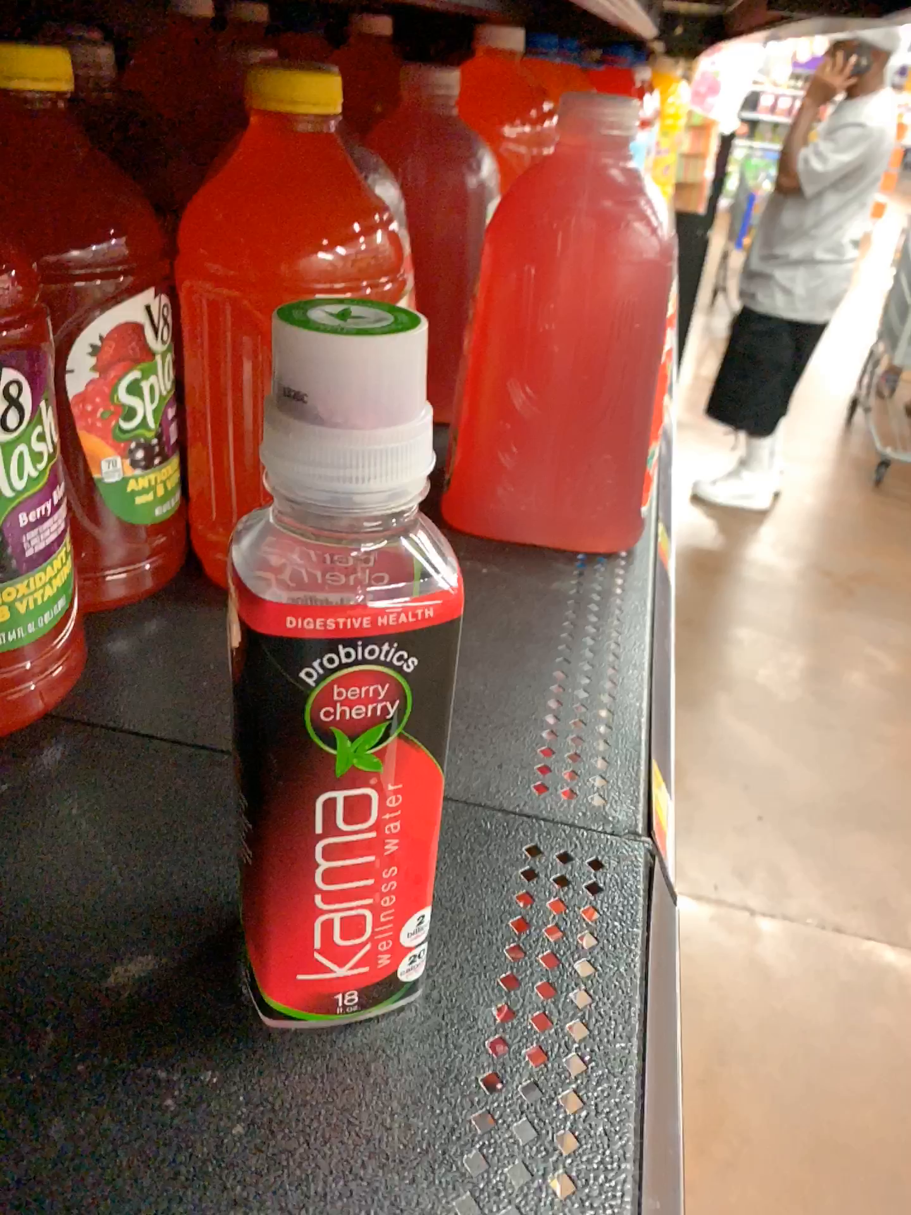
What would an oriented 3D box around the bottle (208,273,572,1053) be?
[{"bbox_3d":[-0.029,0.023,0.266,0.068,0.209,0.070,5,31,-3],"label":"bottle"}]
